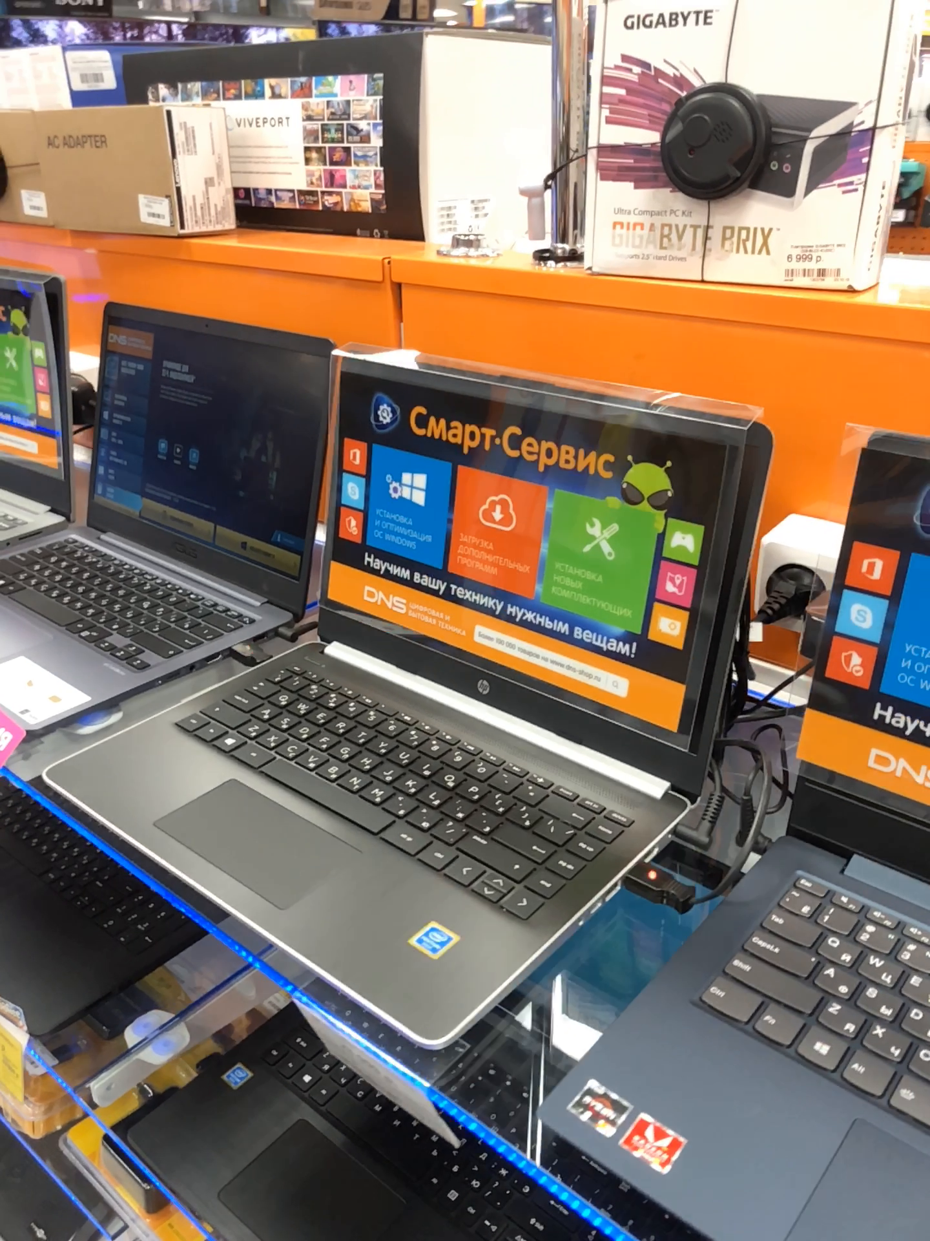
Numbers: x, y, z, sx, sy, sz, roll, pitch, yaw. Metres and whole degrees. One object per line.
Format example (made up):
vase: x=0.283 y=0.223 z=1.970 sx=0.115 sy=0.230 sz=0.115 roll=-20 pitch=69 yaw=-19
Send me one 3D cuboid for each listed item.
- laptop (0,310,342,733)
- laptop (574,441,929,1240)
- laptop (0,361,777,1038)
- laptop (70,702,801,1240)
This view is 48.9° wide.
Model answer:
laptop: x=-0.305 y=-0.111 z=0.807 sx=0.313 sy=0.199 sz=0.280 roll=20 pitch=31 yaw=36
laptop: x=0.216 y=0.089 z=0.346 sx=0.277 sy=0.205 sz=0.249 roll=19 pitch=33 yaw=40
laptop: x=-0.044 y=-0.002 z=0.570 sx=0.314 sy=0.197 sz=0.267 roll=19 pitch=33 yaw=37
laptop: x=-0.023 y=0.264 z=0.660 sx=0.363 sy=0.245 sz=0.251 roll=20 pitch=32 yaw=38
